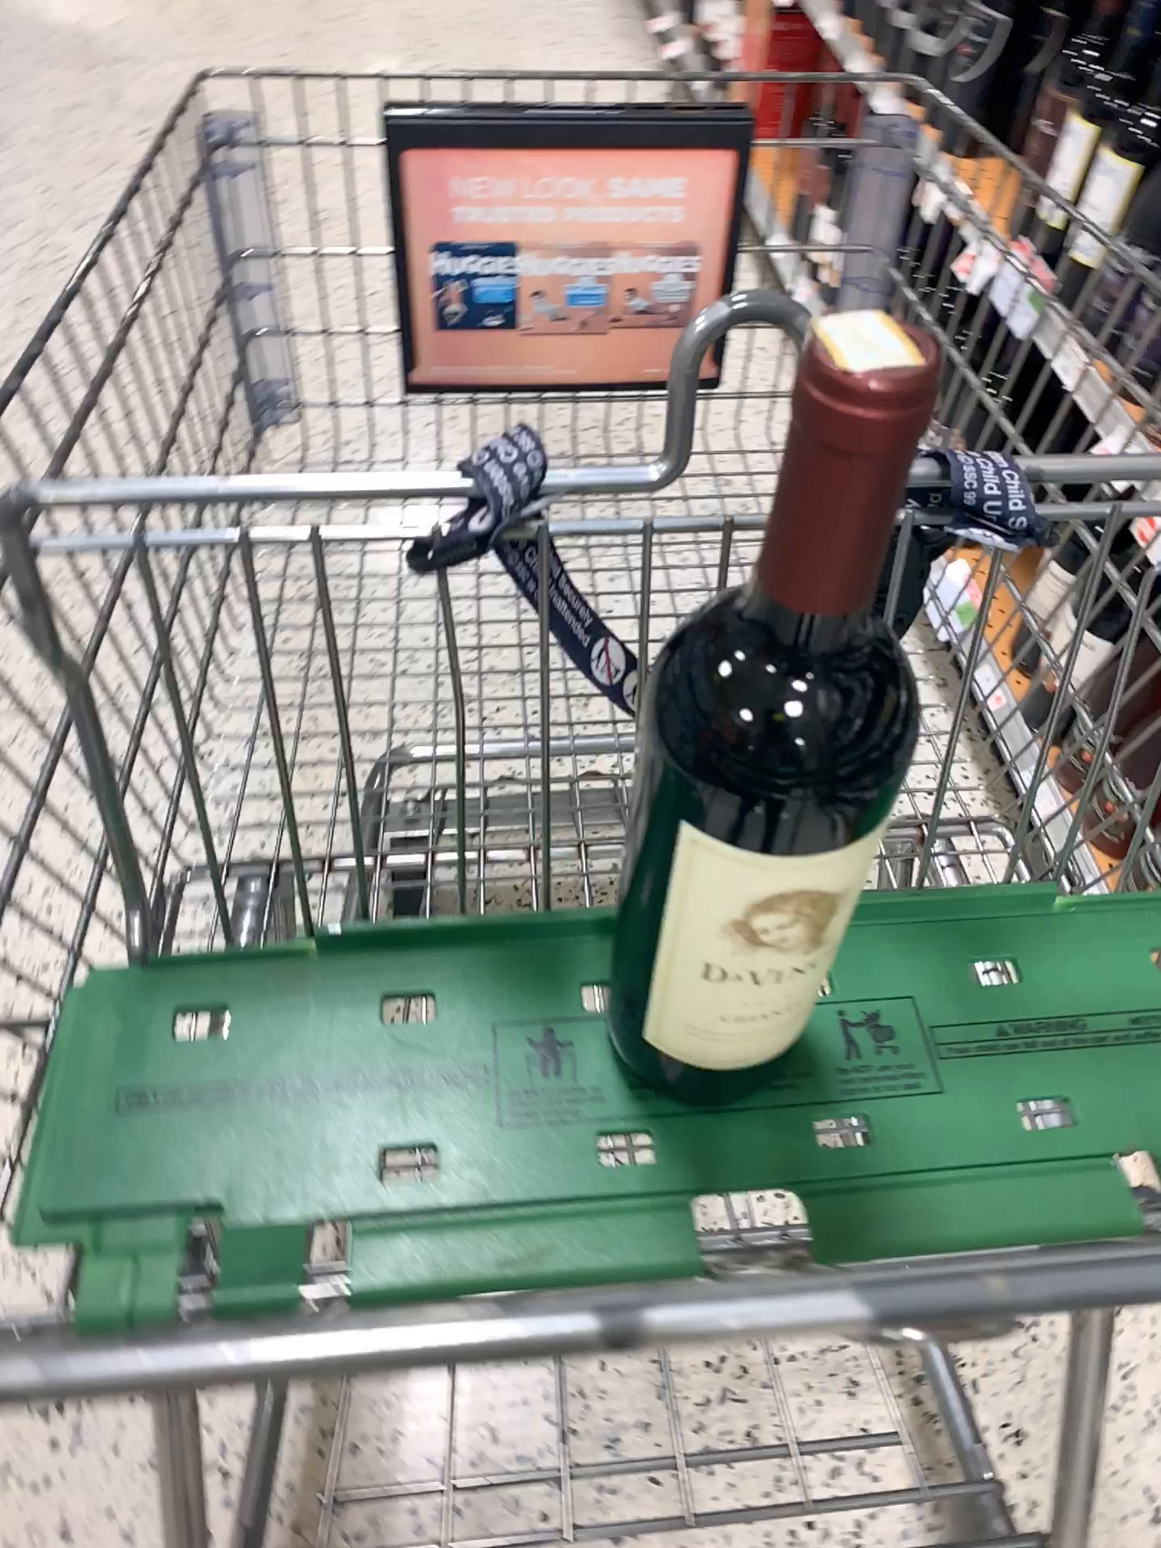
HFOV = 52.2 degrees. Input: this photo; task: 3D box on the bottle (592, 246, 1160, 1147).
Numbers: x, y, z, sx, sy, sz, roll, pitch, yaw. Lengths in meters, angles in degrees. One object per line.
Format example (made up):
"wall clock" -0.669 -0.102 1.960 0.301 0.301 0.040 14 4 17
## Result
"bottle" 0.055 0.006 0.329 0.080 0.267 0.081 1 50 -2
